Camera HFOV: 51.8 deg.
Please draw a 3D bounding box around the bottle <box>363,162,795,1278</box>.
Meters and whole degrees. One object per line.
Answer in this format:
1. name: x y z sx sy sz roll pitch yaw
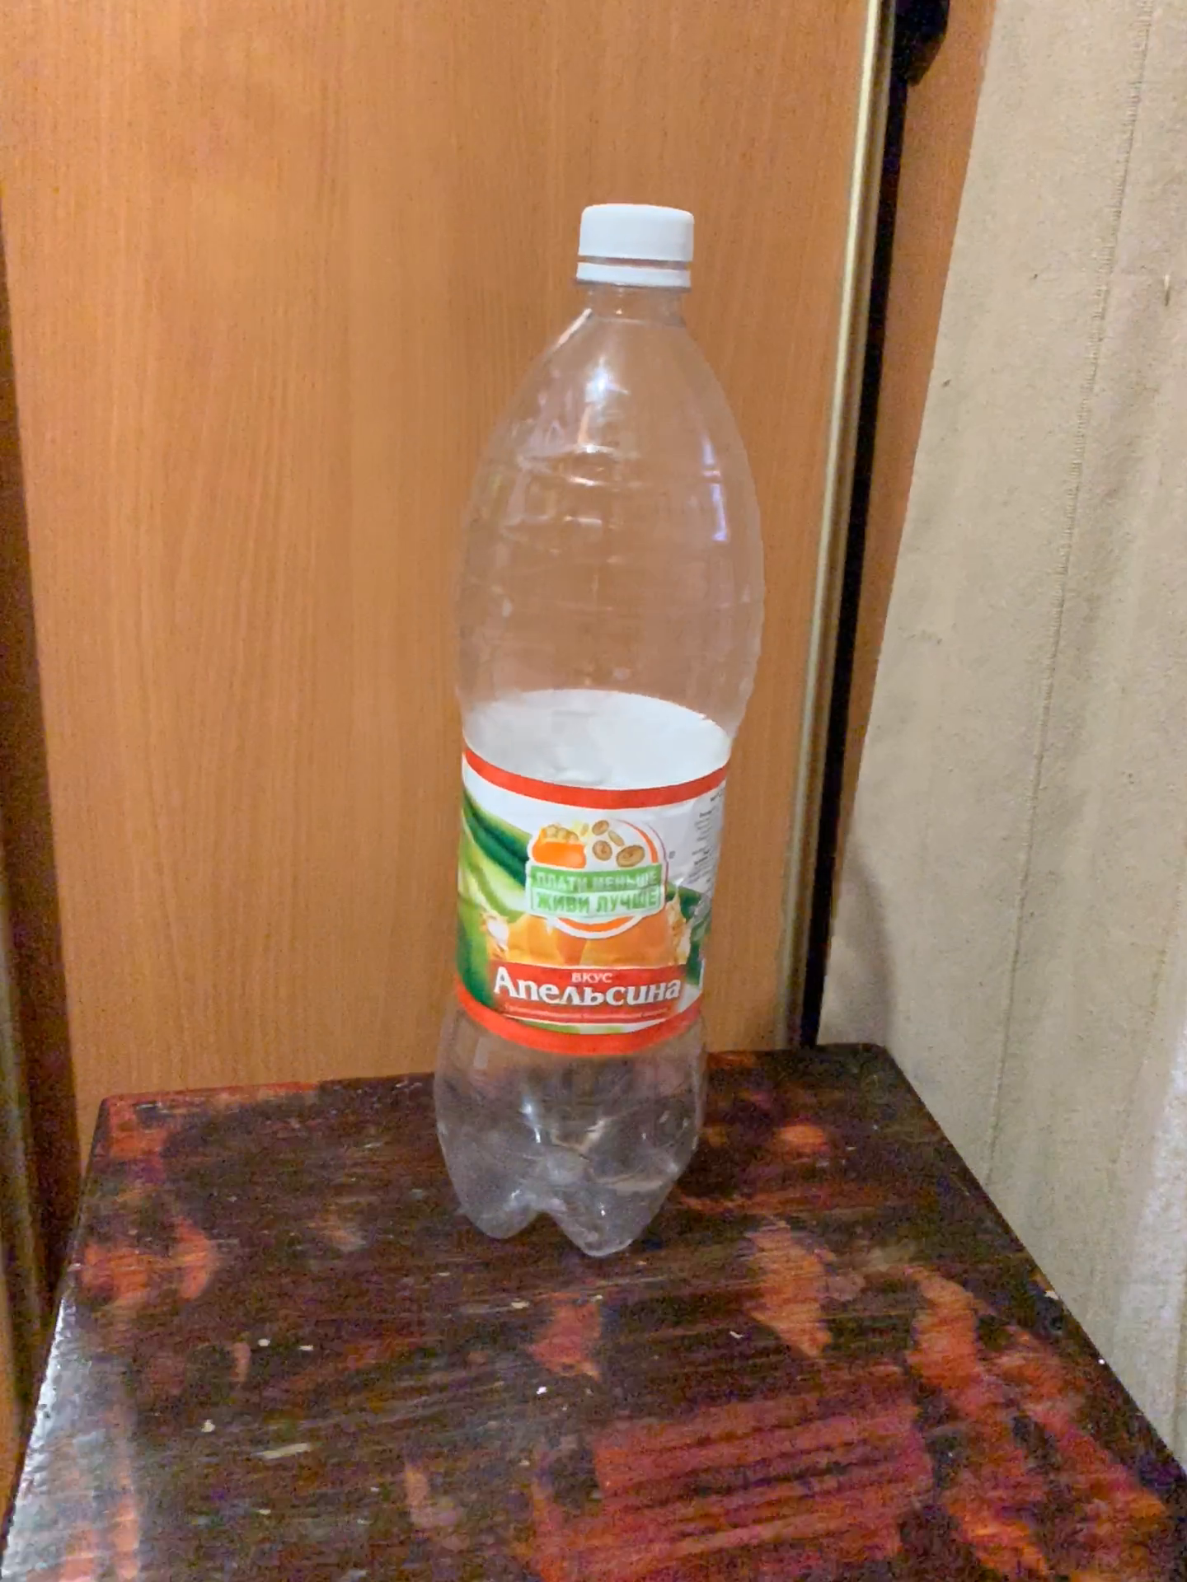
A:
1. bottle: -0.005 -0.014 0.385 0.100 0.318 0.101 2 21 -1
